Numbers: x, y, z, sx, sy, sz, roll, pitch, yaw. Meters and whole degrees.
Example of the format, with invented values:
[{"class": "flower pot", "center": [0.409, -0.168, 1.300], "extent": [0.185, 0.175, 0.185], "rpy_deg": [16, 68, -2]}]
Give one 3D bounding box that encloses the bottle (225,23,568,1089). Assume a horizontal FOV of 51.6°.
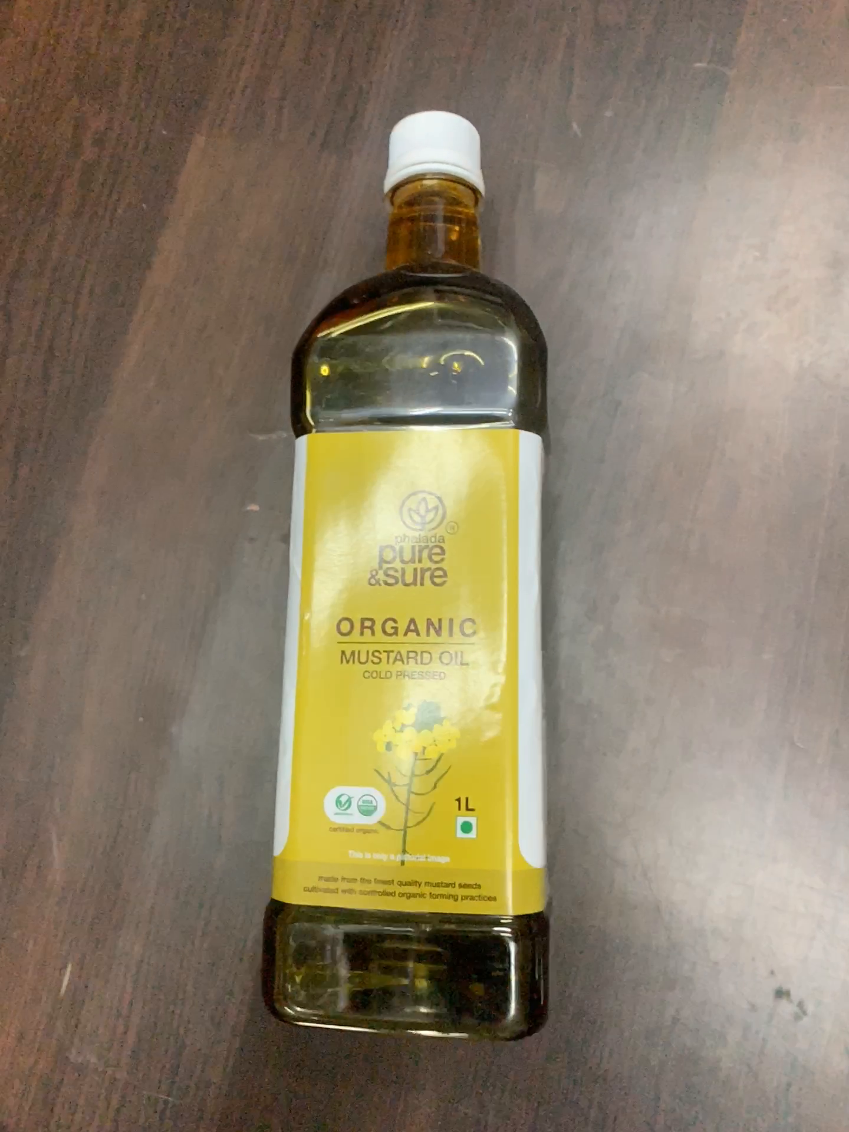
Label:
[{"class": "bottle", "center": [0.001, -0.009, 0.264], "extent": [0.080, 0.080, 0.270], "rpy_deg": [0, 80, 8]}]
